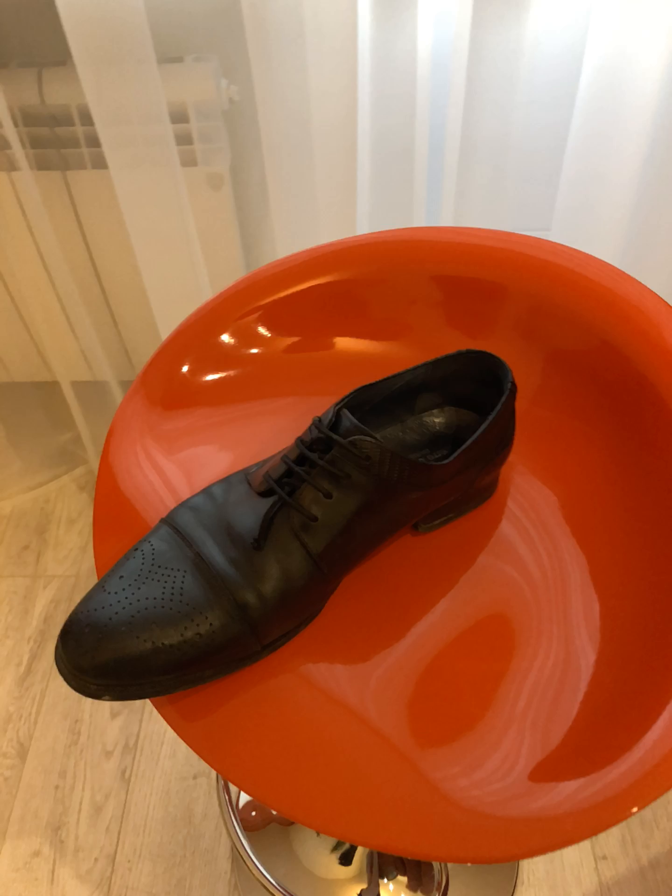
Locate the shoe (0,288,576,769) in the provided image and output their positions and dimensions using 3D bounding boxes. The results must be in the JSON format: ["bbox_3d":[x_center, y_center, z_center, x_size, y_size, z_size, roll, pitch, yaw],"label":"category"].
[{"bbox_3d":[-0.023,0.027,0.419,0.301,0.079,0.121,-29,53,-21],"label":"shoe"}]
